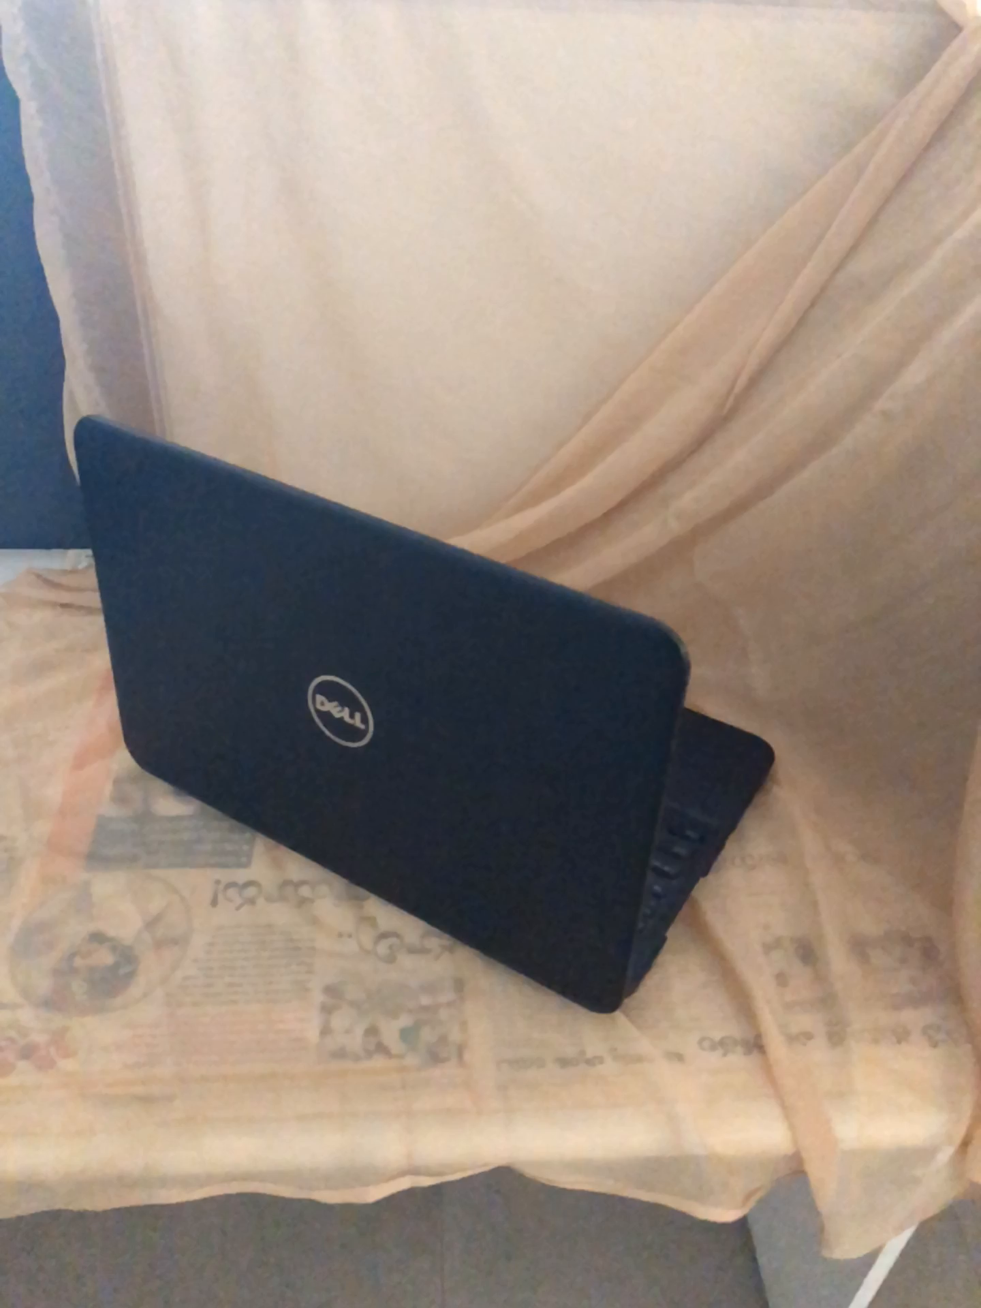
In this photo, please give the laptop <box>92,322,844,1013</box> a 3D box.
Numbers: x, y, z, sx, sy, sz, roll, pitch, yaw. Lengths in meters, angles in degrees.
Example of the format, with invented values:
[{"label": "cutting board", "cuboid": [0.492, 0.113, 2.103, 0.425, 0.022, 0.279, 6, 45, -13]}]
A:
[{"label": "laptop", "cuboid": [-0.008, -0.022, 0.654, 0.333, 0.237, 0.257, 21, 39, 24]}]
